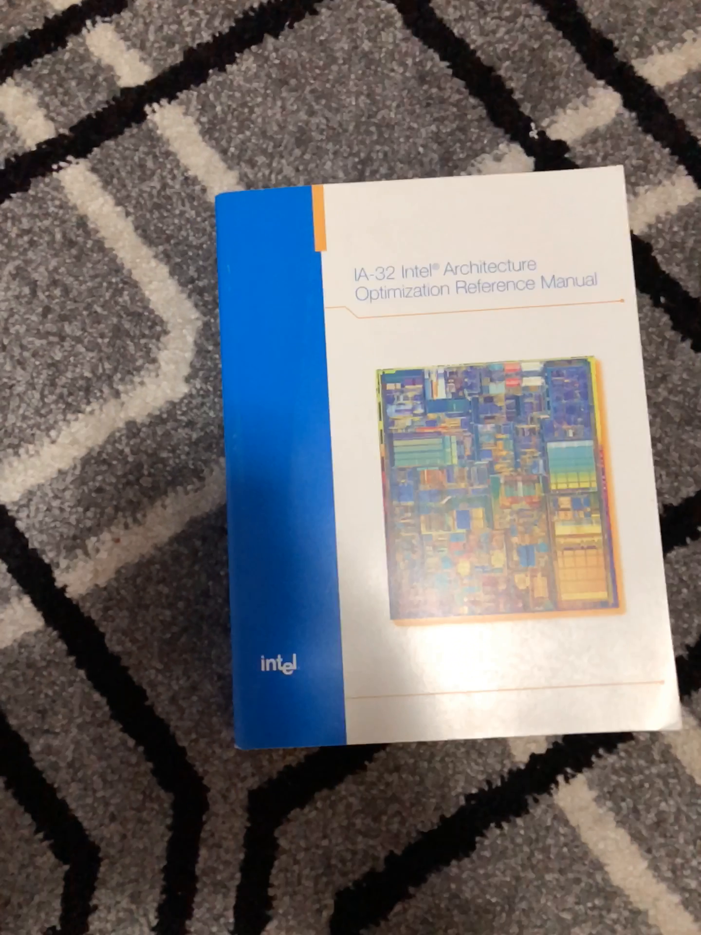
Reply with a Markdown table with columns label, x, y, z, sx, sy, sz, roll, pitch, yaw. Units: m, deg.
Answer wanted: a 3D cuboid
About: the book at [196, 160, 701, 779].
| label | x | y | z | sx | sy | sz | roll | pitch | yaw |
| --- | --- | --- | --- | --- | --- | --- | --- | --- | --- |
| book | 0.034 | -0.001 | 0.292 | 0.170 | 0.040 | 0.210 | -3 | 83 | 2 |
